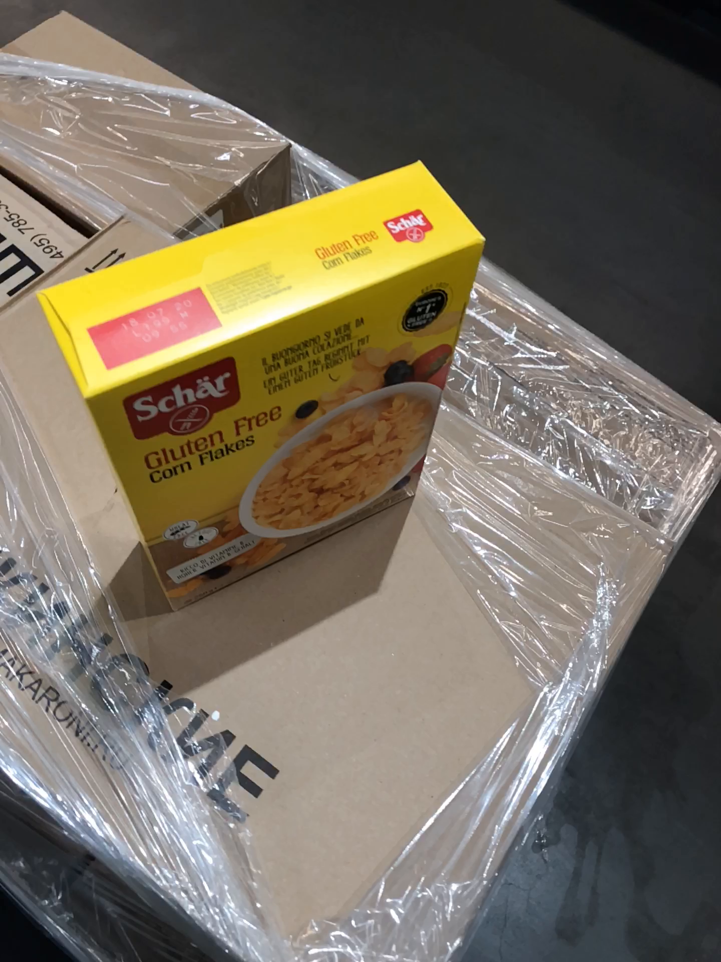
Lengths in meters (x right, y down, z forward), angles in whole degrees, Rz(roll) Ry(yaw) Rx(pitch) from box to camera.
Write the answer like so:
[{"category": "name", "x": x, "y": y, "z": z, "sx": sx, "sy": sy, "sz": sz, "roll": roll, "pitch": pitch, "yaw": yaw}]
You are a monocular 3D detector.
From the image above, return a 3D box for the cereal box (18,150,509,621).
[{"category": "cereal box", "x": -0.045, "y": -0.034, "z": 0.443, "sx": 0.200, "sy": 0.249, "sz": 0.060, "roll": -25, "pitch": 66, "yaw": -18}]
